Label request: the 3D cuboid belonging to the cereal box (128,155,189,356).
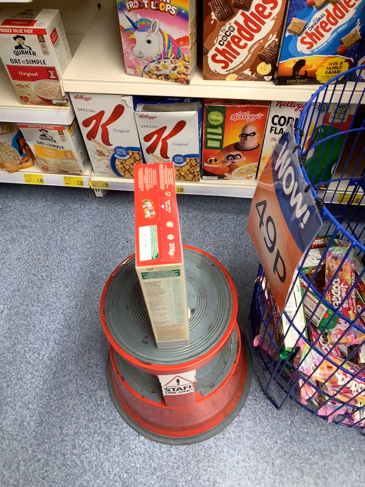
[{"bbox_3d":[-0.036,0.035,0.624,0.070,0.288,0.212,-5,55,-1],"label":"cereal box"}]
